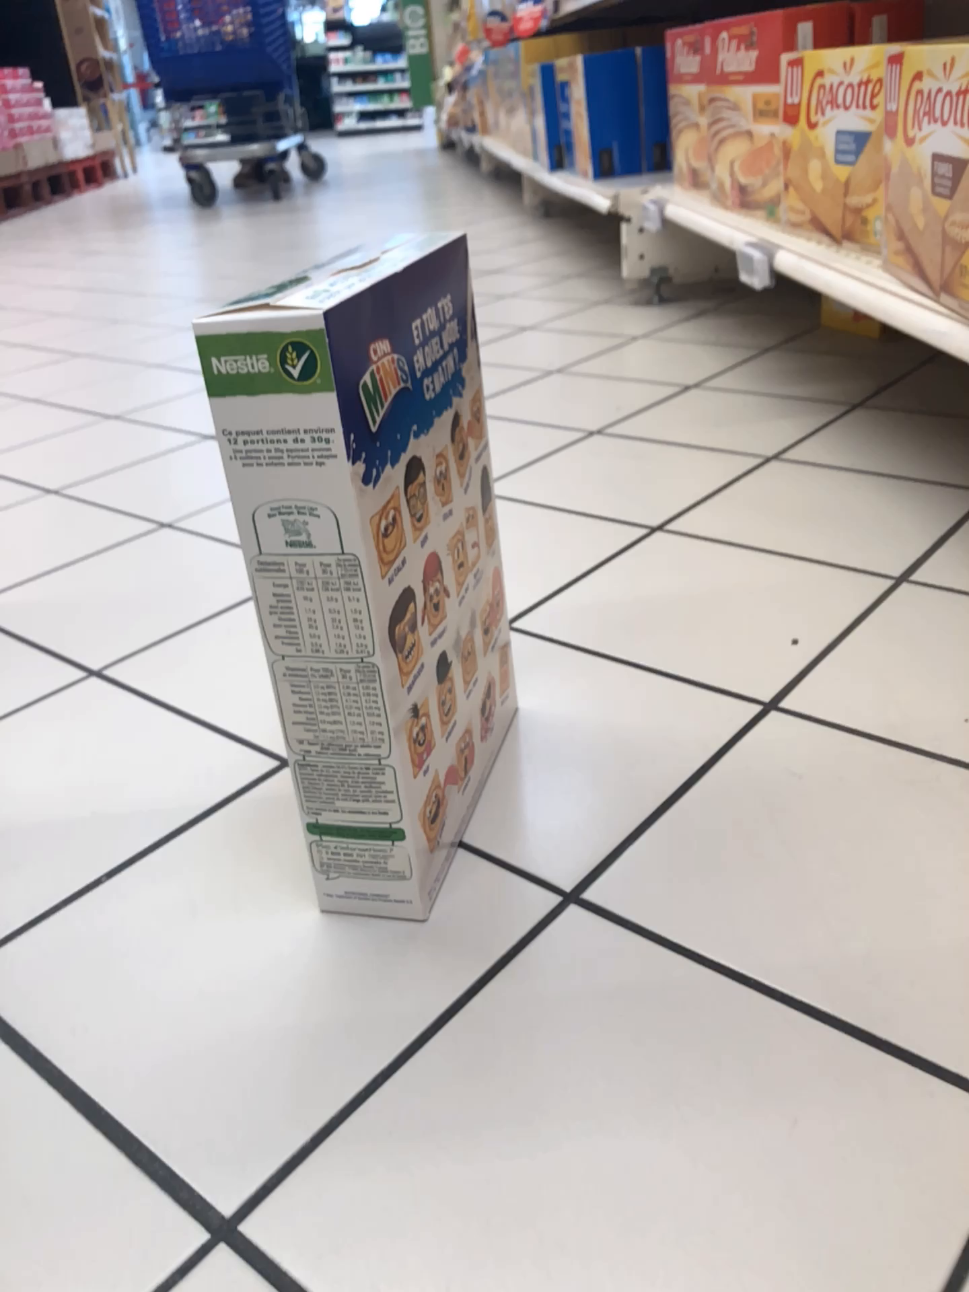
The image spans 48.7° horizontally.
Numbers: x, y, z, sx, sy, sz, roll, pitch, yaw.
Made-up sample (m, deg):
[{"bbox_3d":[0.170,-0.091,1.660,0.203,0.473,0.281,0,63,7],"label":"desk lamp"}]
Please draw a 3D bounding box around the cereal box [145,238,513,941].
[{"bbox_3d":[-0.050,-0.036,0.509,0.070,0.269,0.201,2,28,14],"label":"cereal box"}]
